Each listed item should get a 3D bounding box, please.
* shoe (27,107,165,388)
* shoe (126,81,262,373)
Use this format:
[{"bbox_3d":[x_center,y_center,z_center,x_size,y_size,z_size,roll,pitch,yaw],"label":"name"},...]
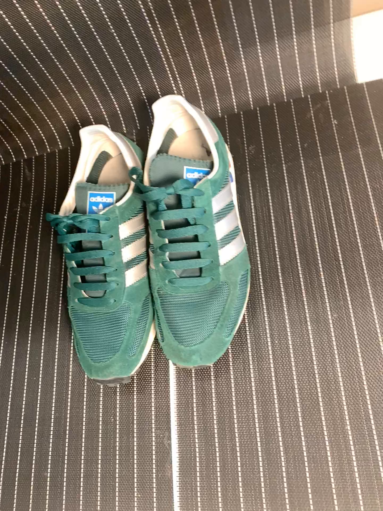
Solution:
[{"bbox_3d":[-0.093,-0.007,0.439,0.100,0.090,0.290,-7,69,16],"label":"shoe"},{"bbox_3d":[0.007,-0.024,0.426,0.100,0.120,0.280,-7,69,16],"label":"shoe"}]
